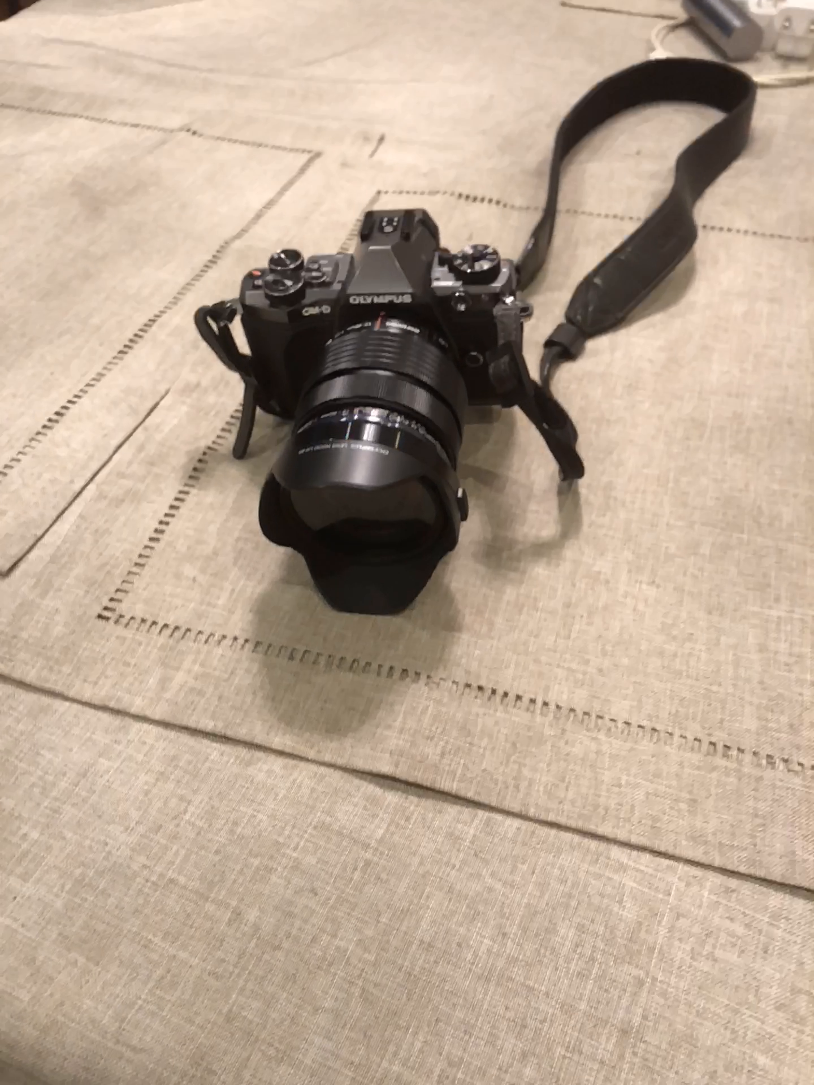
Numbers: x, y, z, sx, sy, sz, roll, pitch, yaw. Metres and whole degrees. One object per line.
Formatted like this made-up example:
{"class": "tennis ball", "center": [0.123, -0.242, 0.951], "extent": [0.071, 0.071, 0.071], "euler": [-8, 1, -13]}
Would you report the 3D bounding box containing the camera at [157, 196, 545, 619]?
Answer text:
{"class": "camera", "center": [-0.013, -0.062, 0.379], "extent": [0.124, 0.092, 0.165], "euler": [1, 46, 3]}
